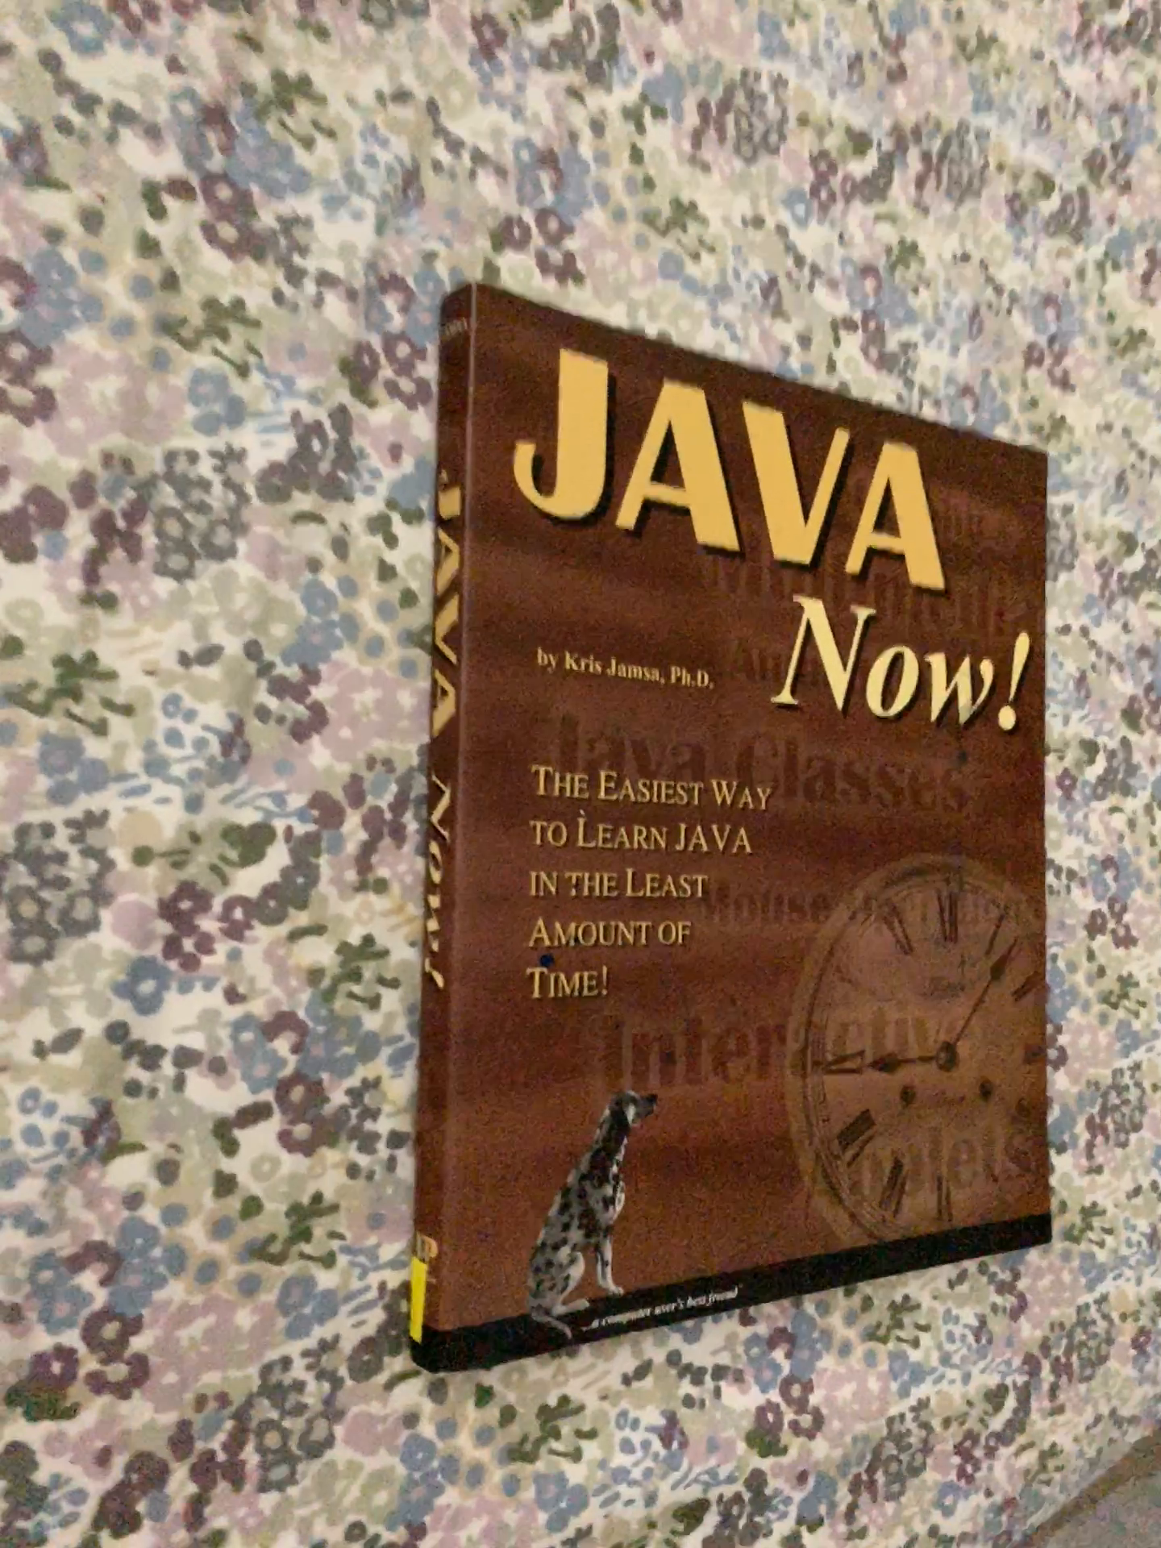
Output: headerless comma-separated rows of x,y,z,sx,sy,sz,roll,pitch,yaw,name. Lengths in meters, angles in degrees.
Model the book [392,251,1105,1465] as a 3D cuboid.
0.062,0.021,0.331,0.221,0.030,0.260,4,86,-32,book
